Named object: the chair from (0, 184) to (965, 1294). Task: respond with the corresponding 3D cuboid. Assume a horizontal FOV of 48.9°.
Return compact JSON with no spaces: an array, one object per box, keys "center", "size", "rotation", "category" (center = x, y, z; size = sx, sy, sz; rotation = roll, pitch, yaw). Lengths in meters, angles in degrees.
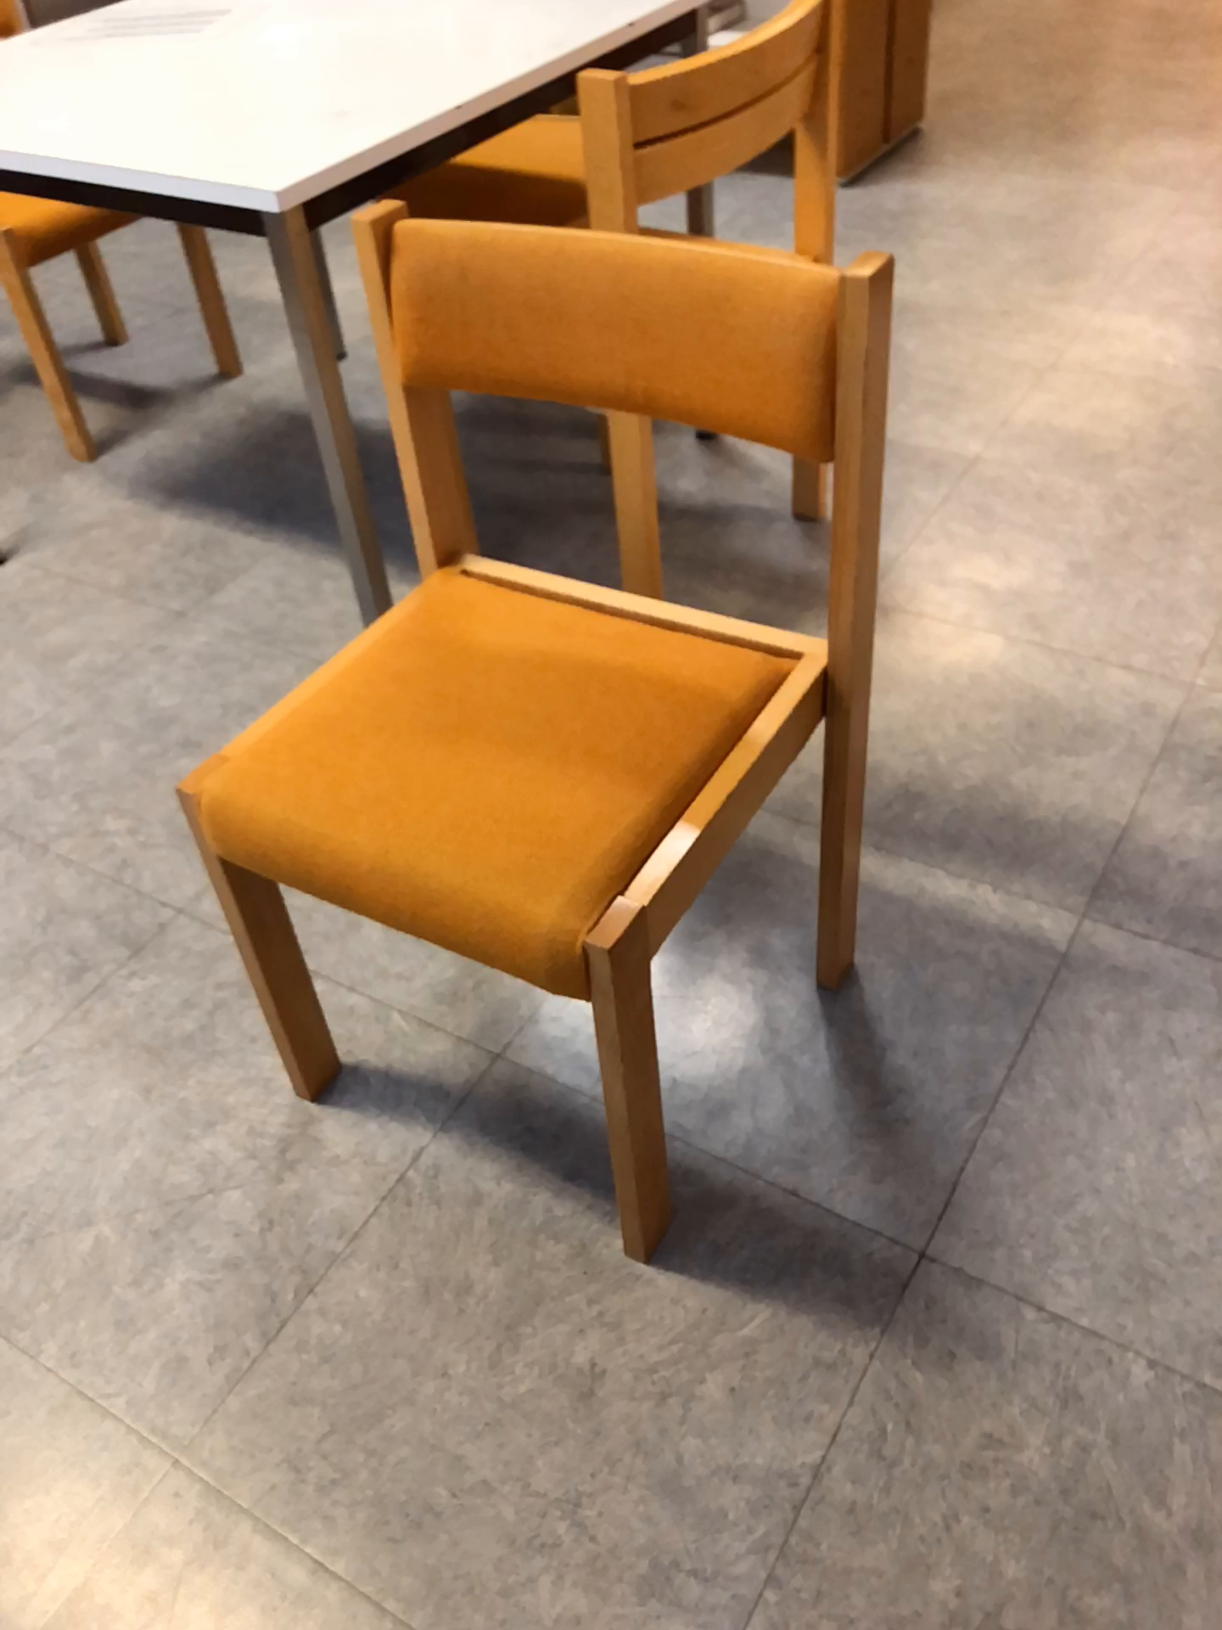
[{"center":[-0.073,-0.088,1.195],"size":[0.550,0.696,0.523],"rotation":[18,47,26],"category":"chair"}]
